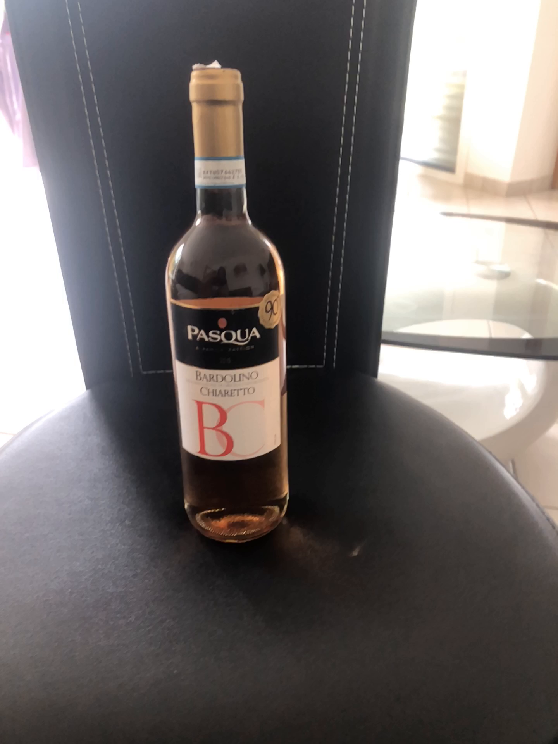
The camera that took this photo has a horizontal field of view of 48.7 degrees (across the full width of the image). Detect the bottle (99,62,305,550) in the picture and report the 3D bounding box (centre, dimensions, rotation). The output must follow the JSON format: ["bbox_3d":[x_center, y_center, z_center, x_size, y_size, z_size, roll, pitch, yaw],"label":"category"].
[{"bbox_3d":[-0.034,-0.030,0.375,0.080,0.278,0.081,0,28,0],"label":"bottle"}]
